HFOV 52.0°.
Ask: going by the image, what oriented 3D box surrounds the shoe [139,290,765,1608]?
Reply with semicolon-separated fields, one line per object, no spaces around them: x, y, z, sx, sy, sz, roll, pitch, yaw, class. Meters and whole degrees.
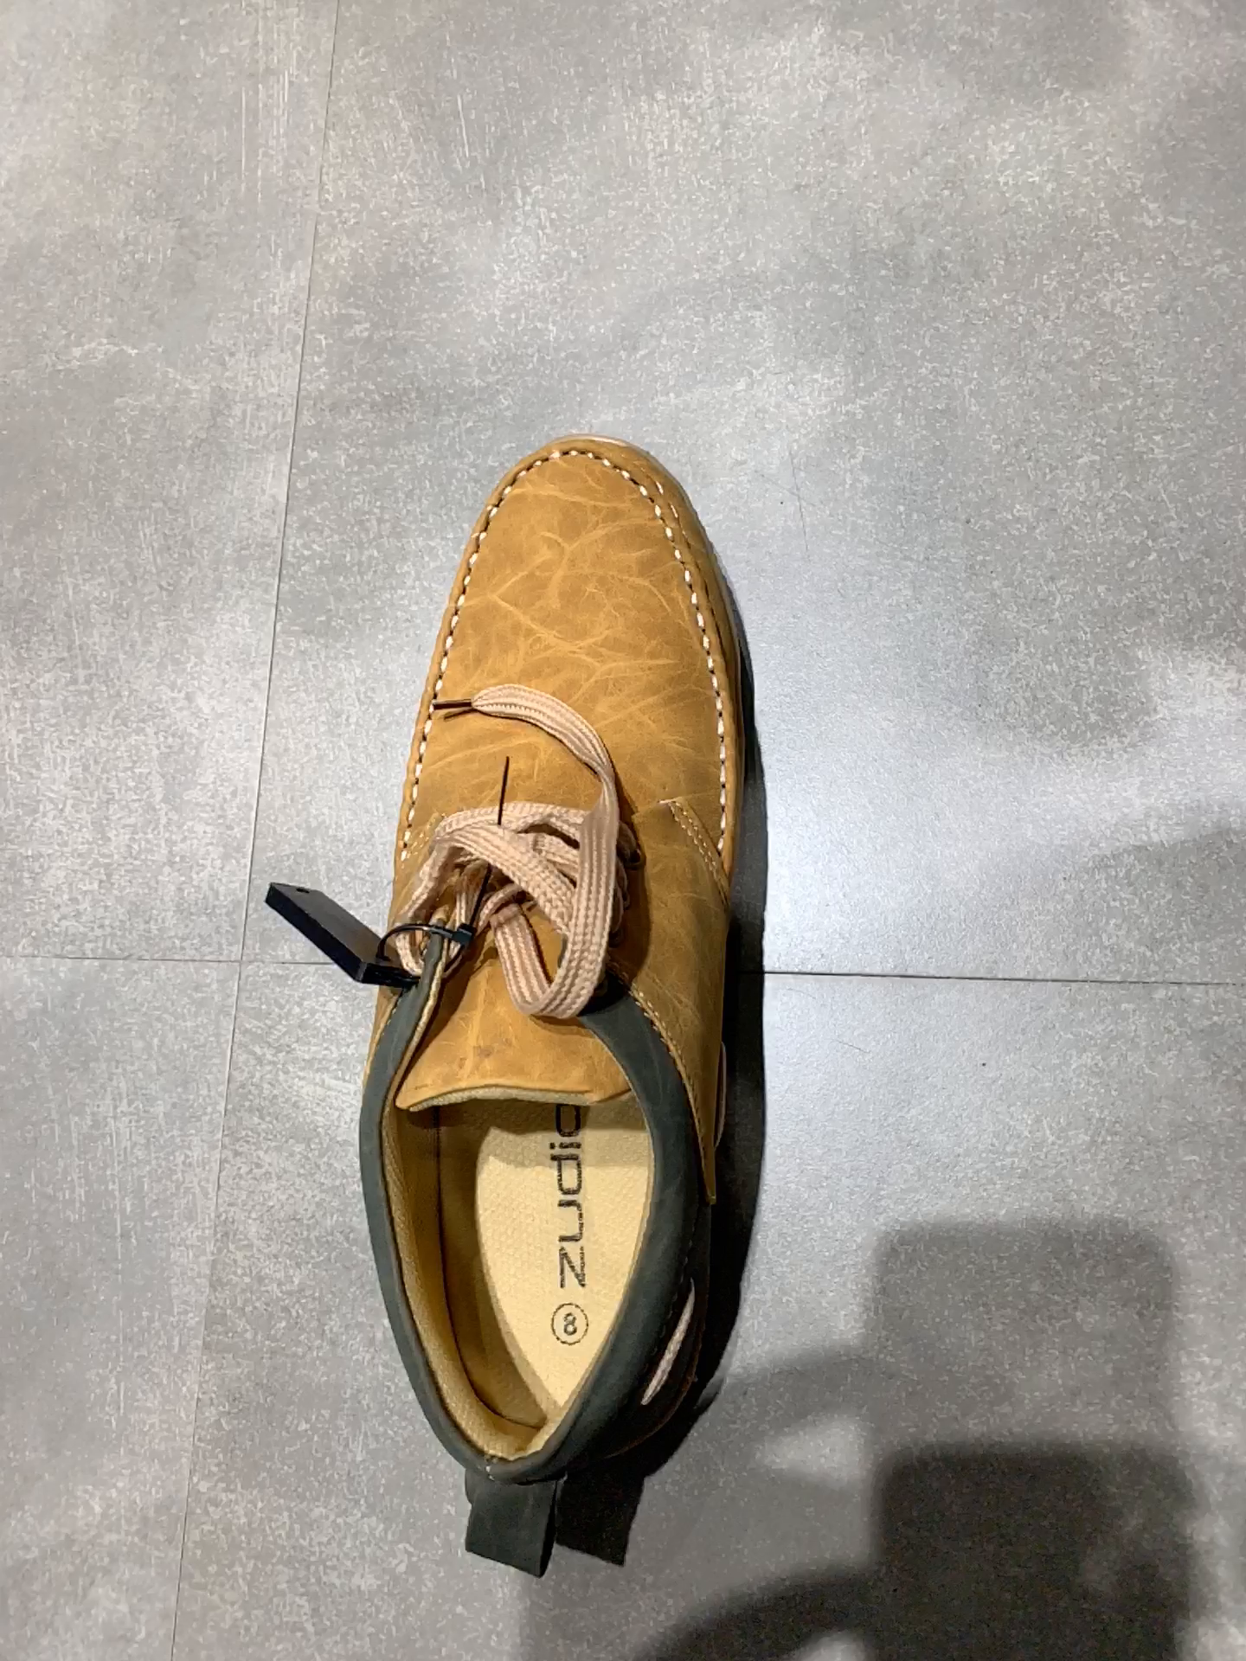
-0.027;0.023;0.324;0.111;0.117;0.267;-2;77;11;shoe
